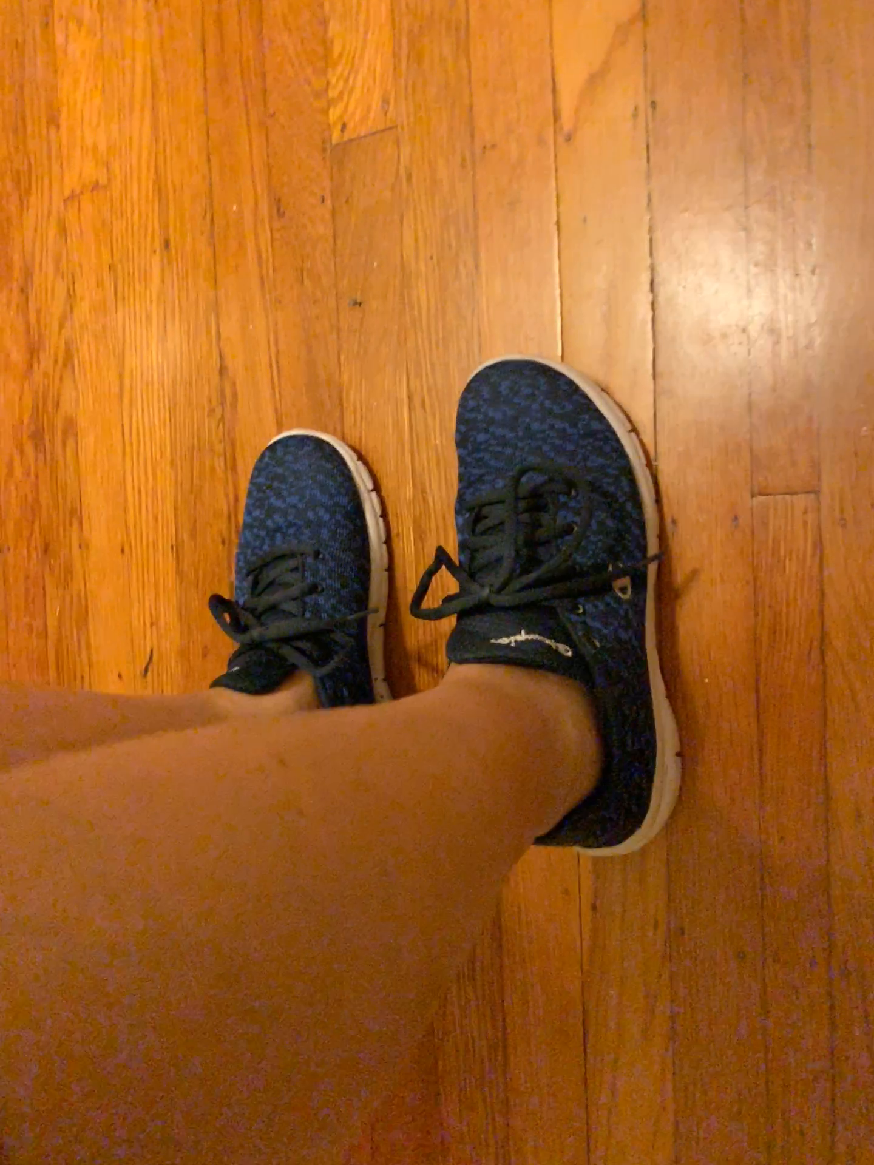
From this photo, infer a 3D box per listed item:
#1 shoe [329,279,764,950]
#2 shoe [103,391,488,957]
[{"bbox_3d":[0.060,0.018,0.453,0.118,0.129,0.280,-15,85,29],"label":"shoe"},{"bbox_3d":[-0.080,0.052,0.544,0.116,0.149,0.290,-13,86,29],"label":"shoe"}]
